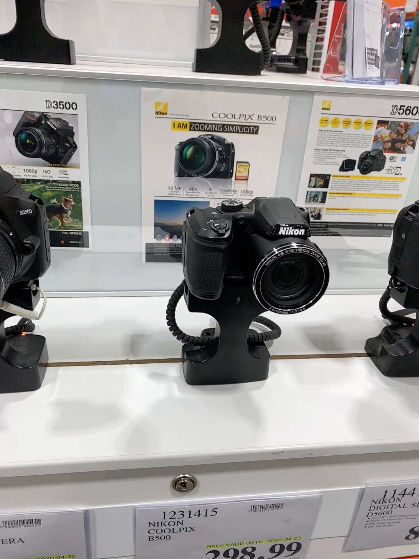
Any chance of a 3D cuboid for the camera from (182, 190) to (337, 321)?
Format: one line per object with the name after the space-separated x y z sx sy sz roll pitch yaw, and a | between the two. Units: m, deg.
0.036 -0.024 0.375 0.110 0.089 0.071 -2 27 -10 | camera
